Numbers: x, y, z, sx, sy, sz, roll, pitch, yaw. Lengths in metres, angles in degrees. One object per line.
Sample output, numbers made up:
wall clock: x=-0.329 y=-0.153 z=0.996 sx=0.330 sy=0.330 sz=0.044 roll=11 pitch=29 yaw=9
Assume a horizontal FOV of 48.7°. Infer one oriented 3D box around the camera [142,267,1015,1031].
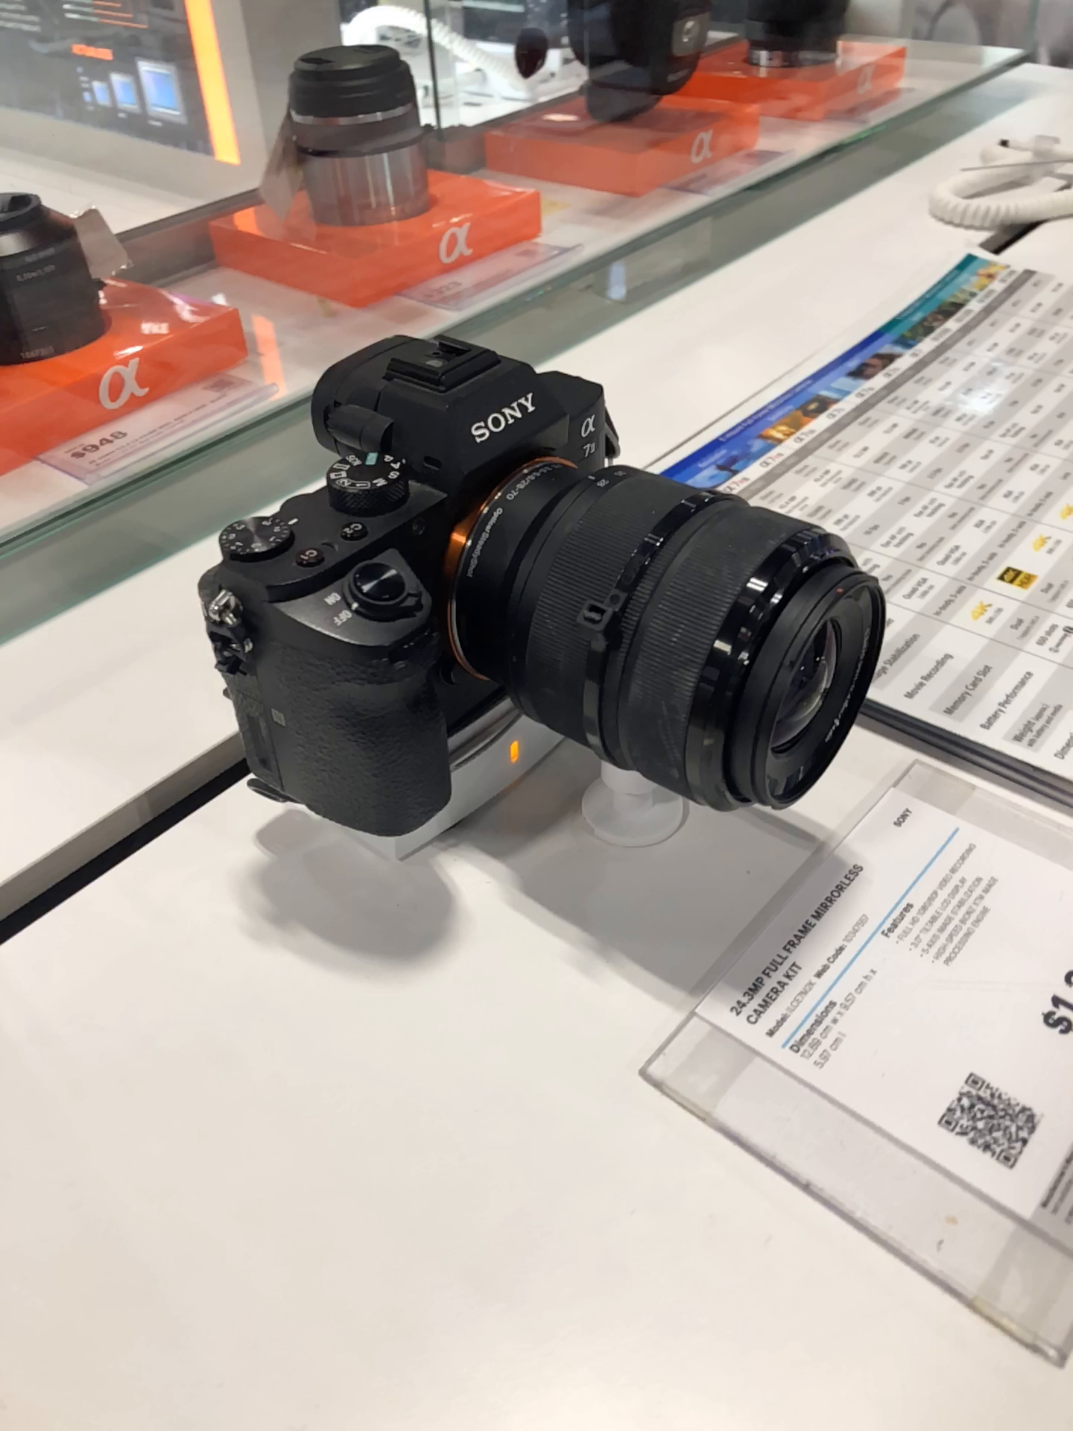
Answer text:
camera: x=0.013 y=-0.030 z=0.286 sx=0.140 sy=0.089 sz=0.130 roll=24 pitch=47 yaw=29
